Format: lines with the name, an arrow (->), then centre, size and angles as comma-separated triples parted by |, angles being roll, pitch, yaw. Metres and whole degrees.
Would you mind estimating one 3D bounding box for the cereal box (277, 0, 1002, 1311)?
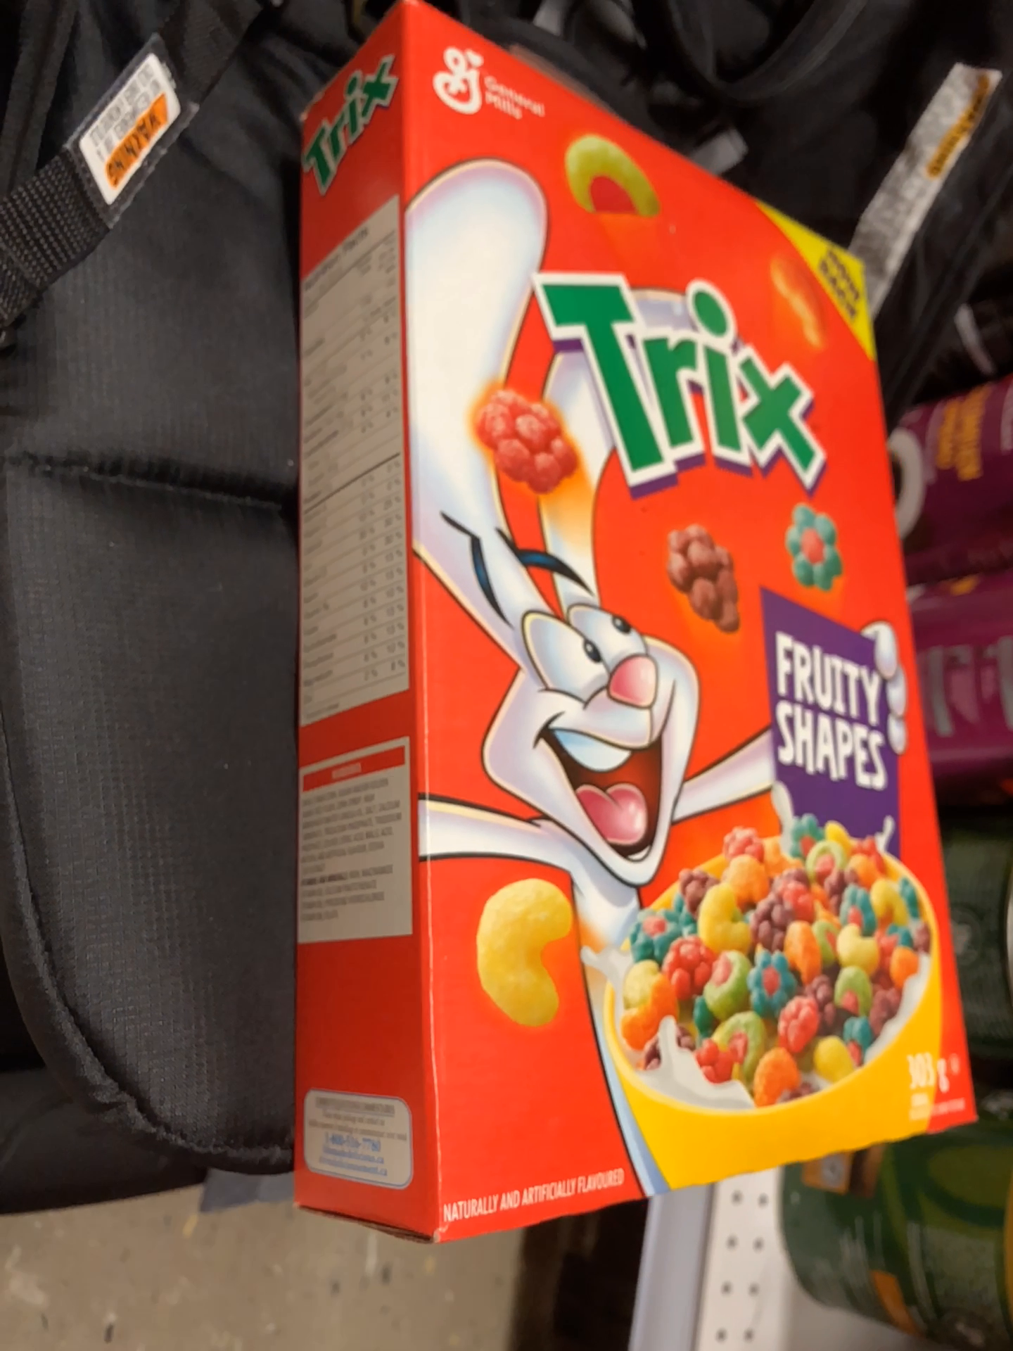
cereal box -> 0.042, -0.006, 0.319 | 0.201, 0.060, 0.280 | 9, 74, -39
